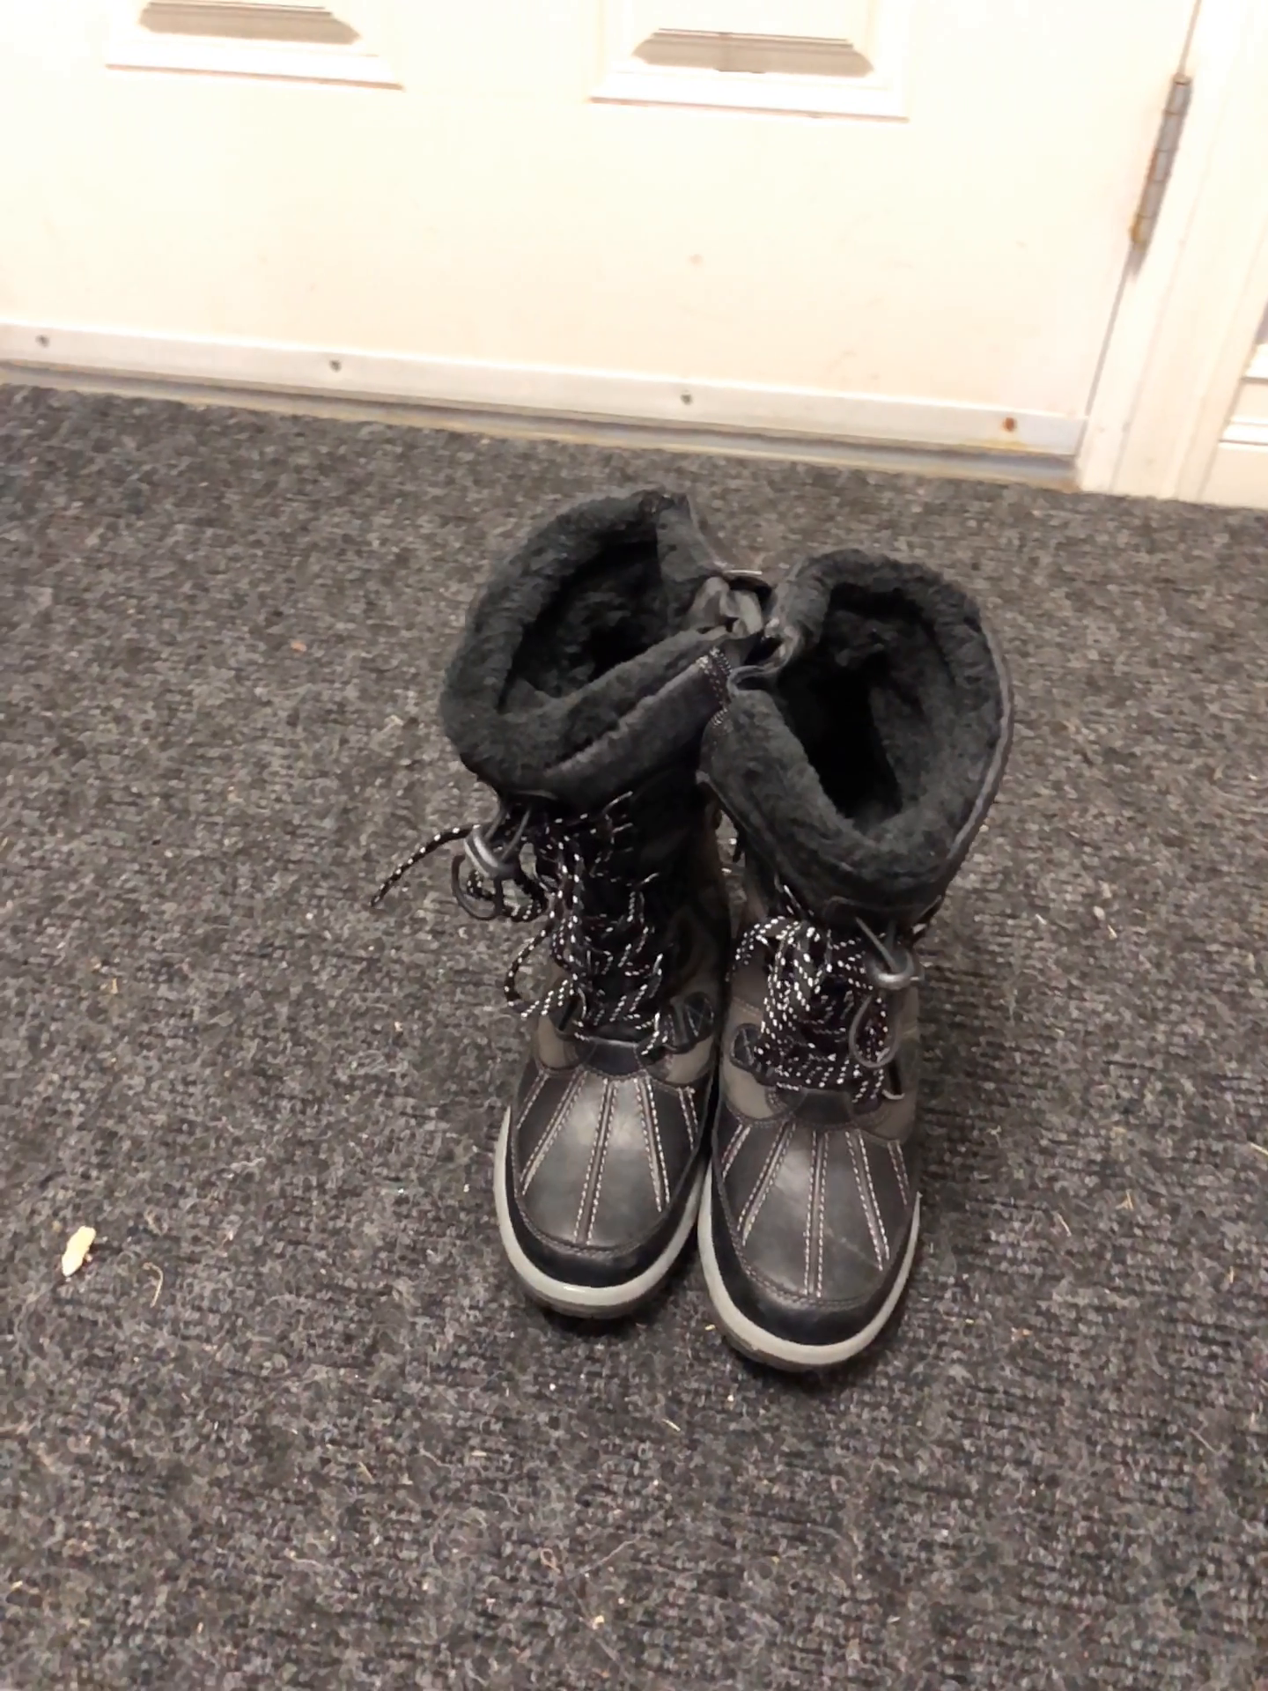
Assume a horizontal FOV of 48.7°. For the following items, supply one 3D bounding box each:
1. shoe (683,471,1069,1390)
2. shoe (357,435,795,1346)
[{"bbox_3d":[0.087,0.036,0.583,0.100,0.269,0.261,5,46,4],"label":"shoe"},{"bbox_3d":[-0.008,0.019,0.591,0.110,0.269,0.261,6,46,6],"label":"shoe"}]
